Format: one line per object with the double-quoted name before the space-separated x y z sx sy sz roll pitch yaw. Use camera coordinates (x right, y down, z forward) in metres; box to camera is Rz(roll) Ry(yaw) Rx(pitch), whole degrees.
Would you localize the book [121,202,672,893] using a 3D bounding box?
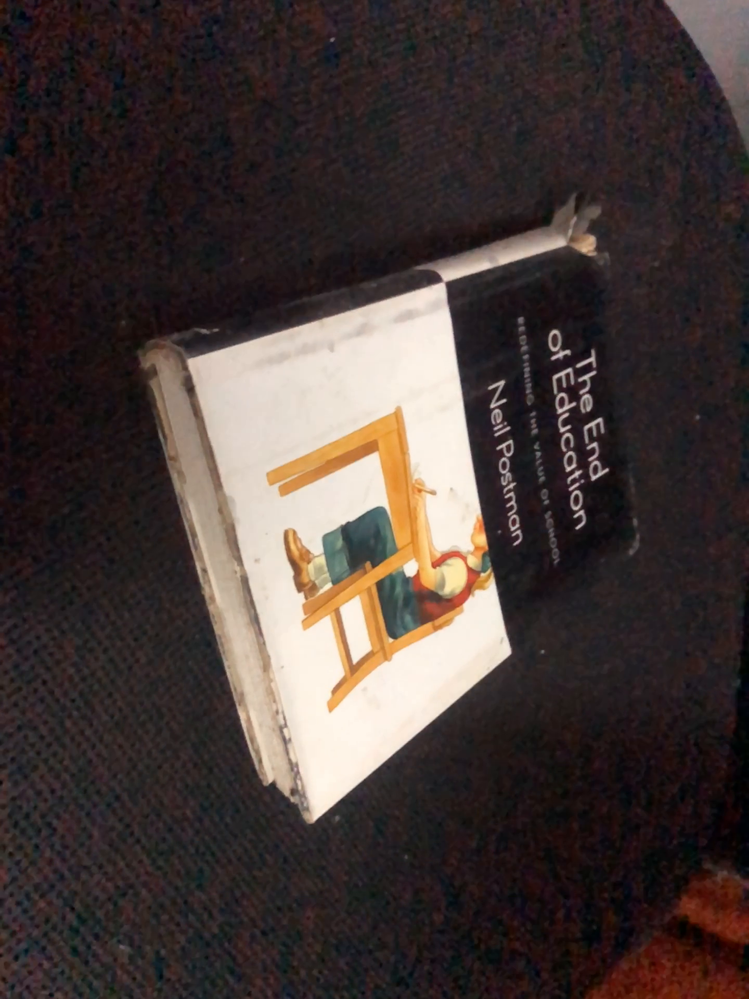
"book" 0.042 -0.005 0.329 0.252 0.030 0.180 -29 115 -41
